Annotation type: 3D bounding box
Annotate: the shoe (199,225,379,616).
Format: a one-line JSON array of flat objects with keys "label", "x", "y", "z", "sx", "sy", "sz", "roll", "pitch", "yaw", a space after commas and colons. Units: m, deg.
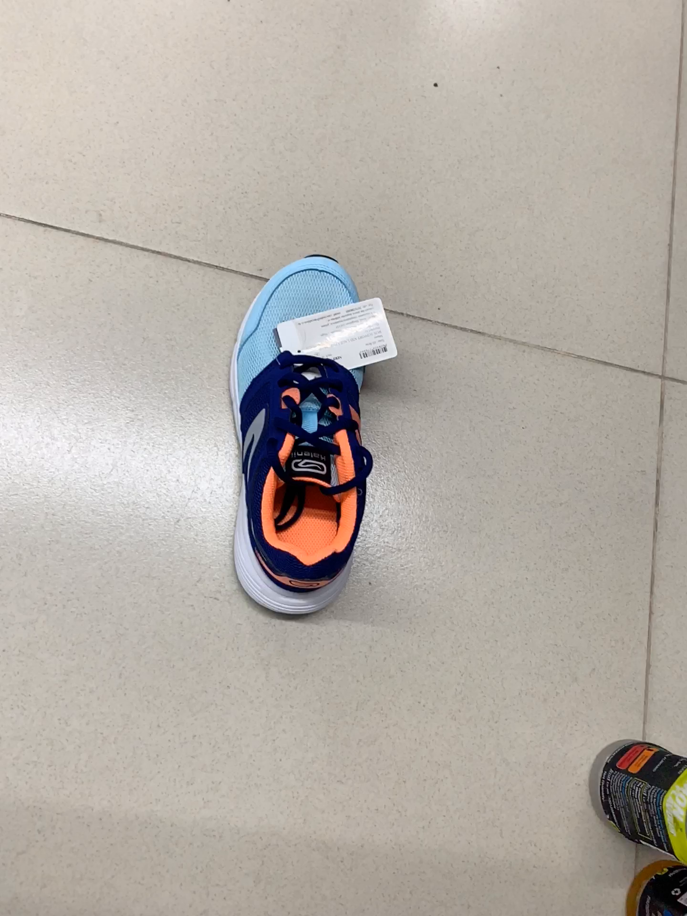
[{"label": "shoe", "x": -0.036, "y": -0.019, "z": 0.469, "sx": 0.100, "sy": 0.080, "sz": 0.240, "roll": 4, "pitch": 77, "yaw": -11}]
